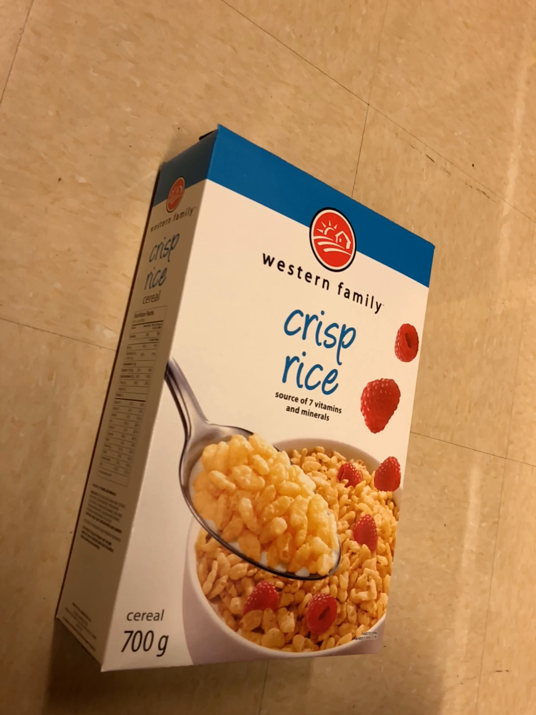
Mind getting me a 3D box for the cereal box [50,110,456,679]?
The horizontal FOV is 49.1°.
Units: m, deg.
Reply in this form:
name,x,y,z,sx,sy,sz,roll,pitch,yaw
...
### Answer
name,x,y,z,sx,sy,sz,roll,pitch,yaw
cereal box,0.010,0.037,0.420,0.231,0.080,0.320,18,78,-34
